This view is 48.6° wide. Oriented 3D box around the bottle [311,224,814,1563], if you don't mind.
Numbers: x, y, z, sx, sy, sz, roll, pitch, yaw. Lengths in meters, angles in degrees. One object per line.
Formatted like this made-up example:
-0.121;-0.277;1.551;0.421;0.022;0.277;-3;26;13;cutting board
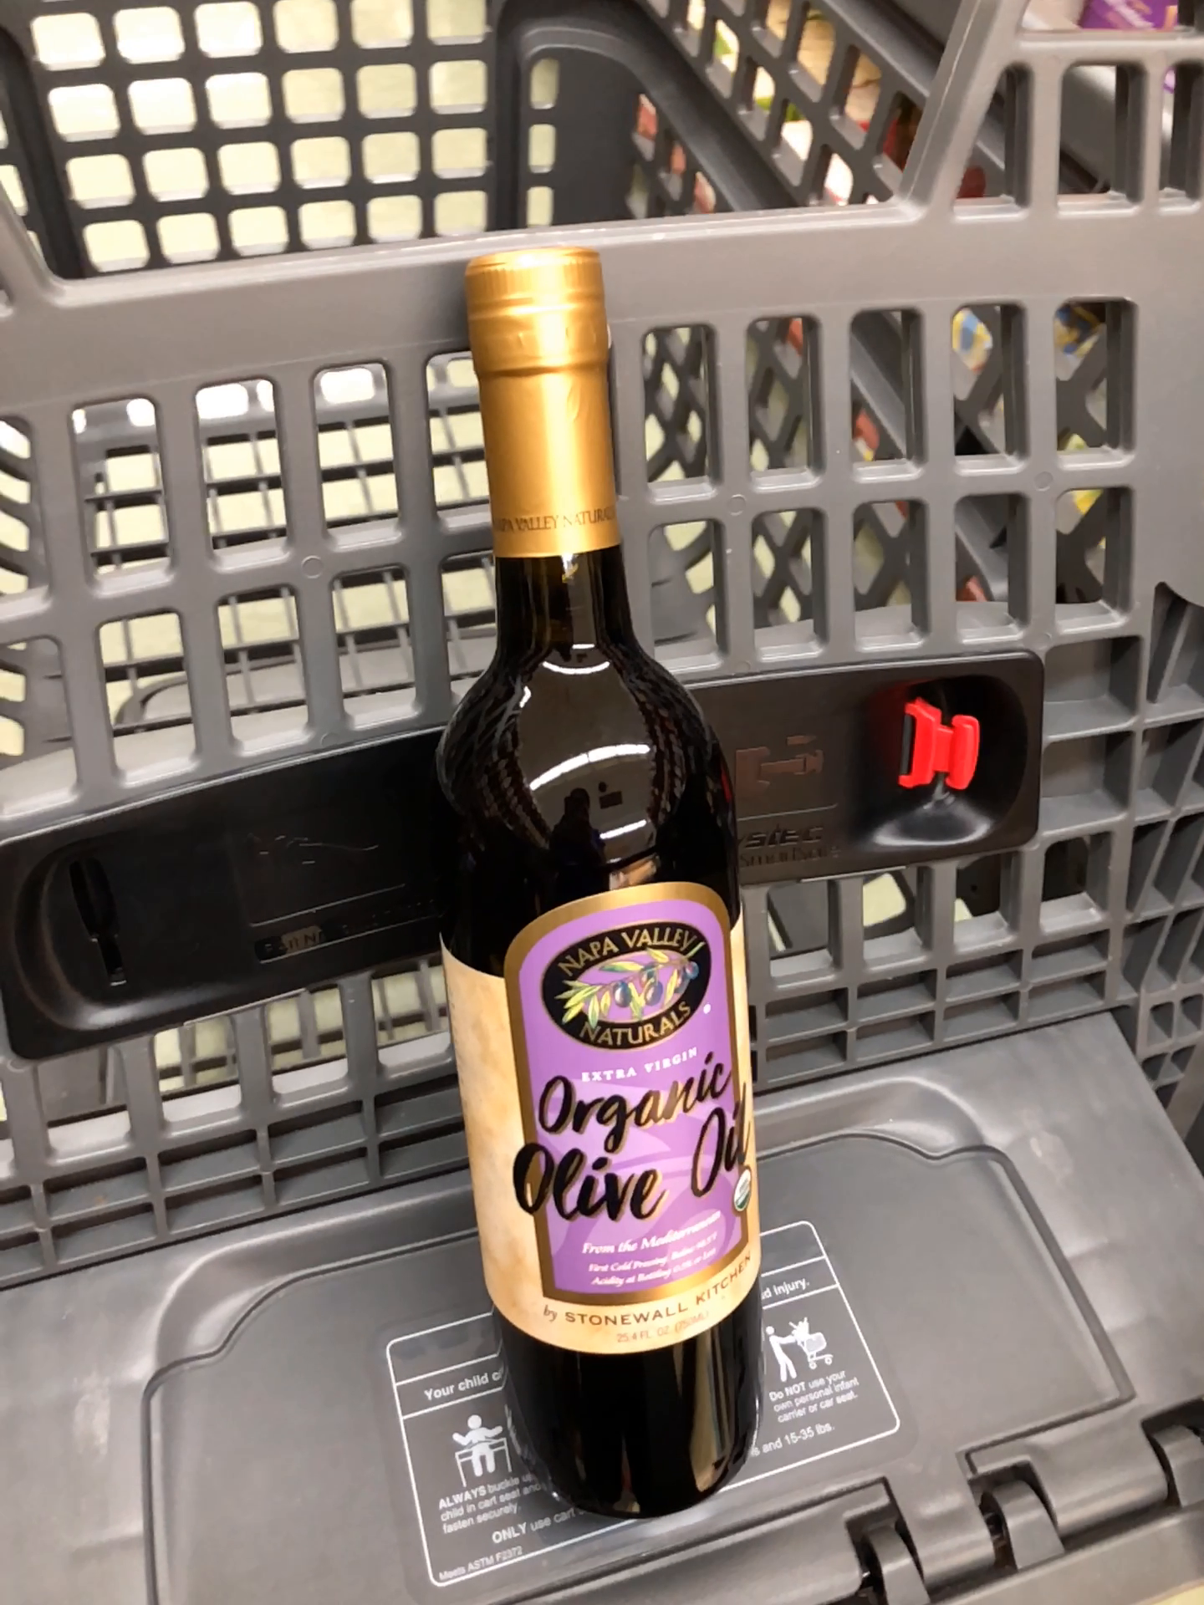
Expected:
-0.006;0.028;0.325;0.080;0.300;0.080;-4;19;2;bottle
